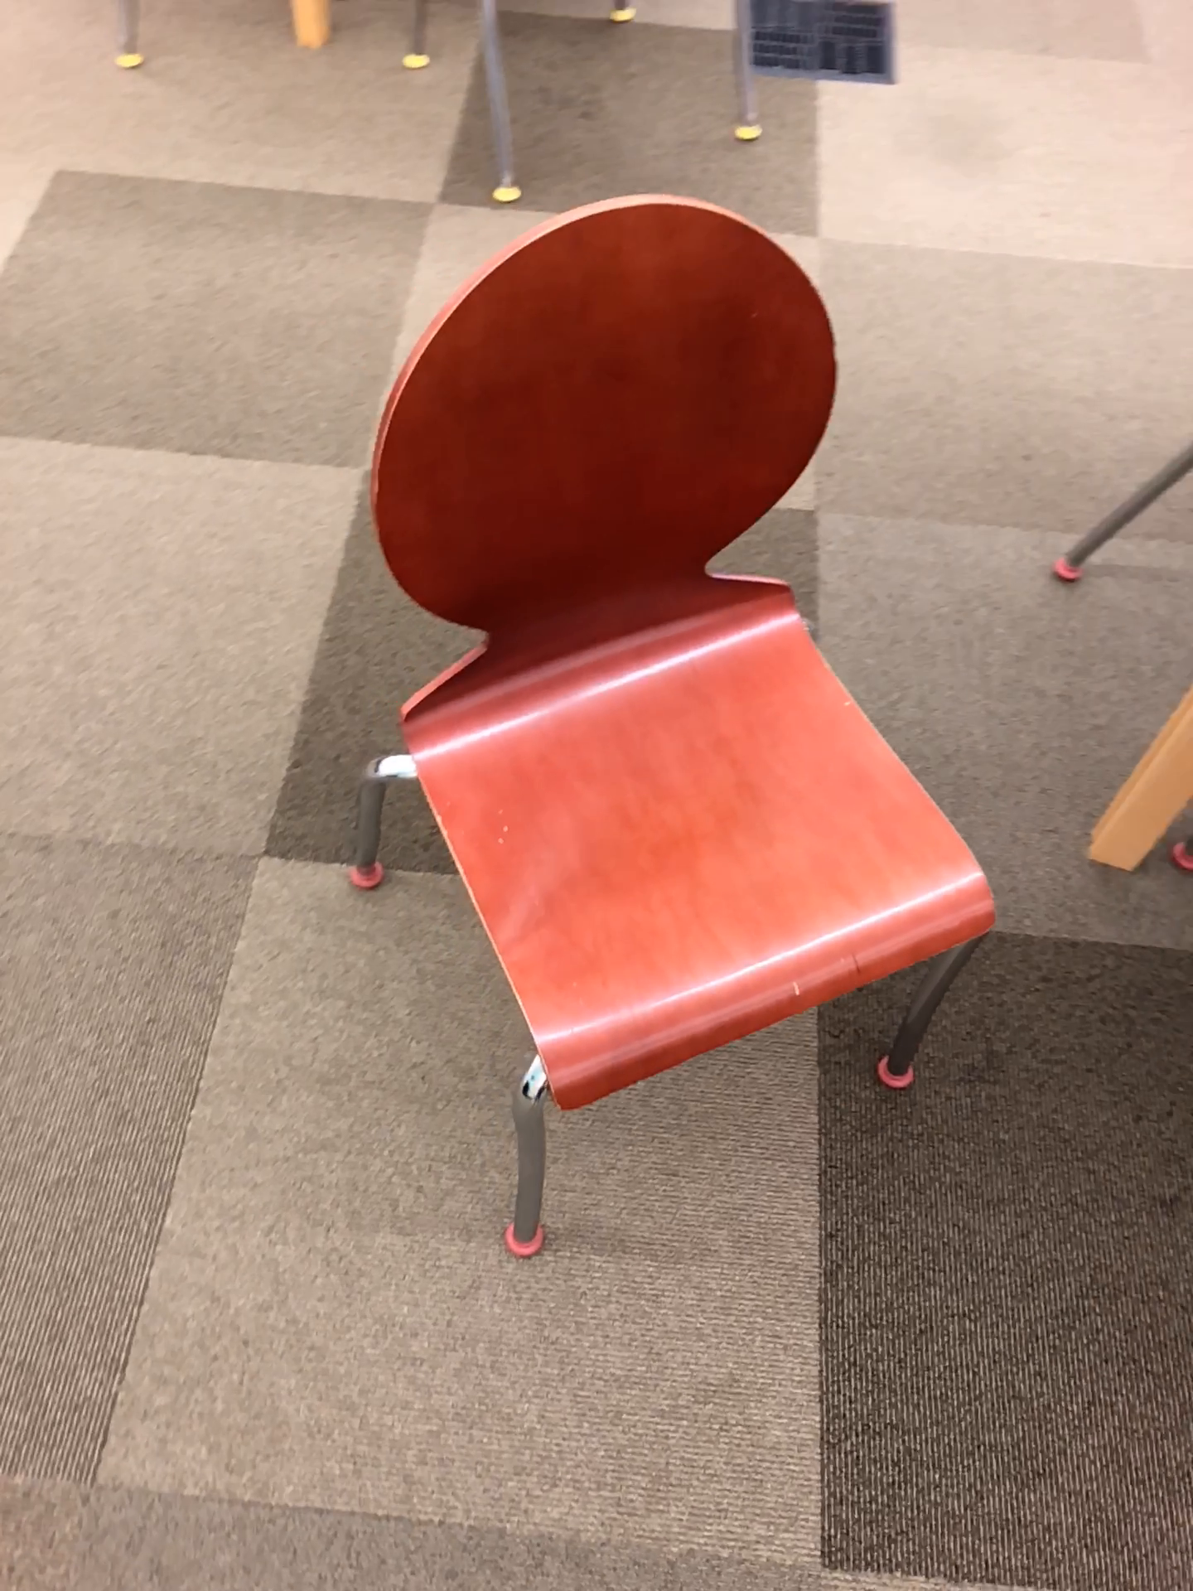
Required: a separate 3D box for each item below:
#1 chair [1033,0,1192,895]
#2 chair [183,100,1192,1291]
[{"bbox_3d":[0.837,-0.310,1.250,0.508,0.721,0.508,-1,56,-3],"label":"chair"},{"bbox_3d":[0.054,-0.028,1.045,0.488,0.721,0.488,-19,59,-15],"label":"chair"}]
